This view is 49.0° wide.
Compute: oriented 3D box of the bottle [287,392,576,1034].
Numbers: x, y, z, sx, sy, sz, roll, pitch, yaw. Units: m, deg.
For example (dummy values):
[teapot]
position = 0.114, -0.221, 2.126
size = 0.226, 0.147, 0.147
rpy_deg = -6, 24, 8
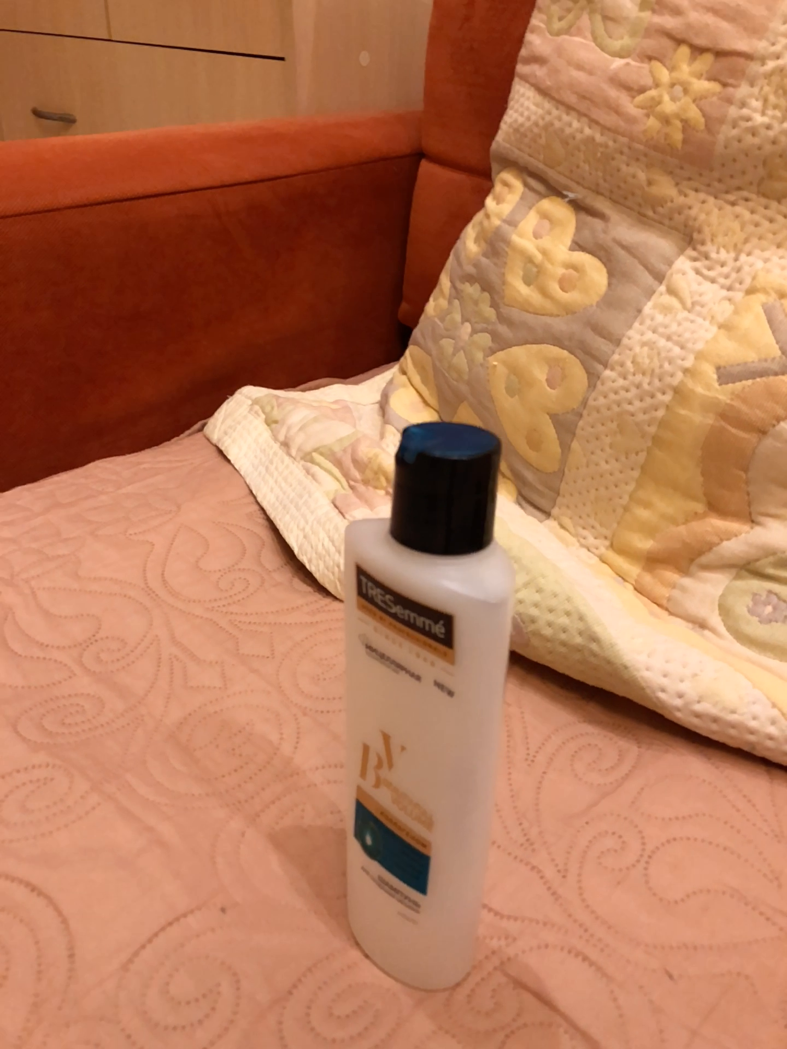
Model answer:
[bottle]
position = 0.003, 0.066, 0.281
size = 0.070, 0.199, 0.040
rpy_deg = 27, 35, 37
